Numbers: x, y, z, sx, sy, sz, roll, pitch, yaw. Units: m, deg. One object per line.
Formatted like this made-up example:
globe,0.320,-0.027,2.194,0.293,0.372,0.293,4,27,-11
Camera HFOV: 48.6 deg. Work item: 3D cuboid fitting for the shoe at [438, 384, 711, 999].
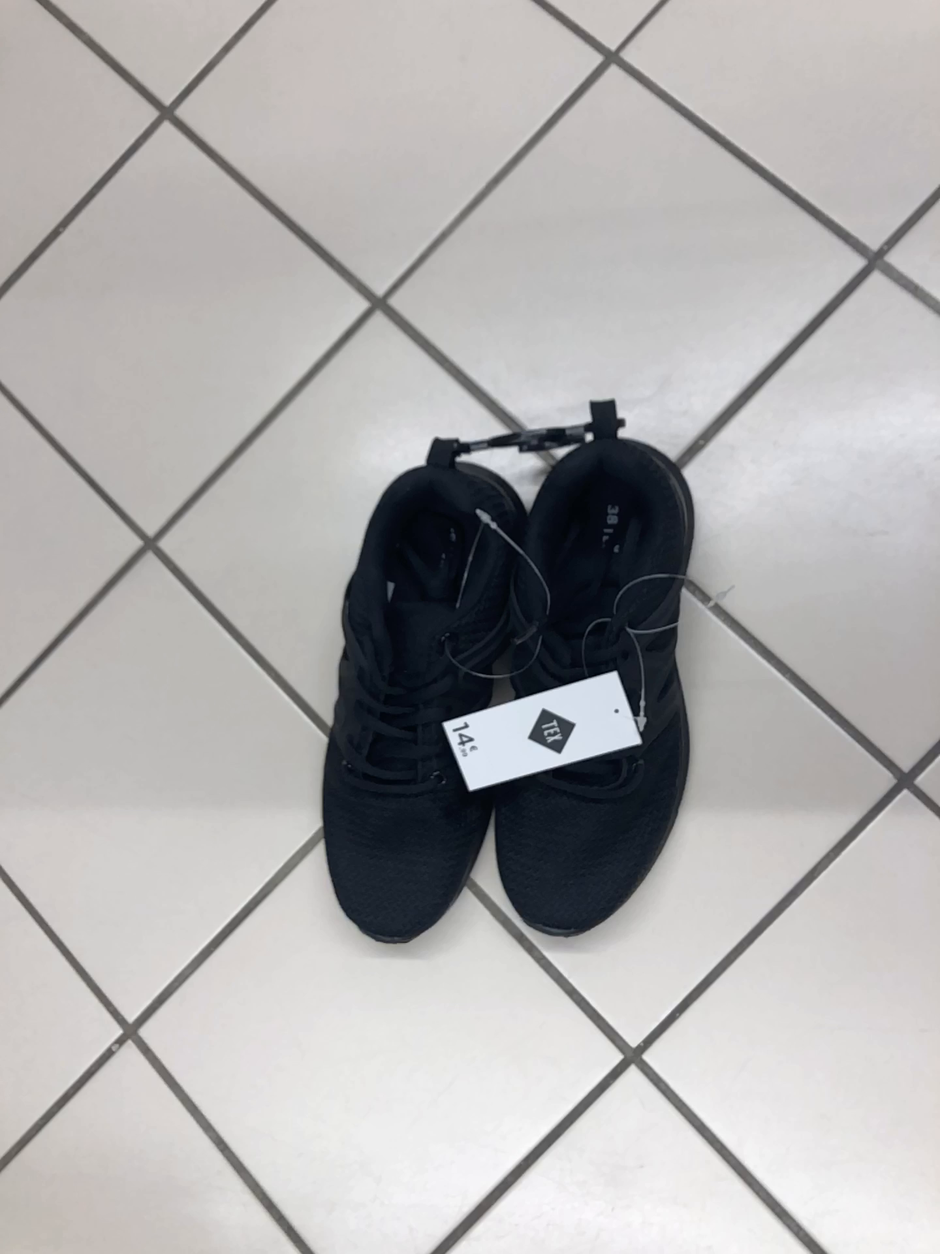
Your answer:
shoe,0.059,0.029,0.528,0.100,0.120,0.270,4,83,11

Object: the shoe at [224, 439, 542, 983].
shoe,-0.038,0.042,0.558,0.100,0.110,0.250,9,84,12
